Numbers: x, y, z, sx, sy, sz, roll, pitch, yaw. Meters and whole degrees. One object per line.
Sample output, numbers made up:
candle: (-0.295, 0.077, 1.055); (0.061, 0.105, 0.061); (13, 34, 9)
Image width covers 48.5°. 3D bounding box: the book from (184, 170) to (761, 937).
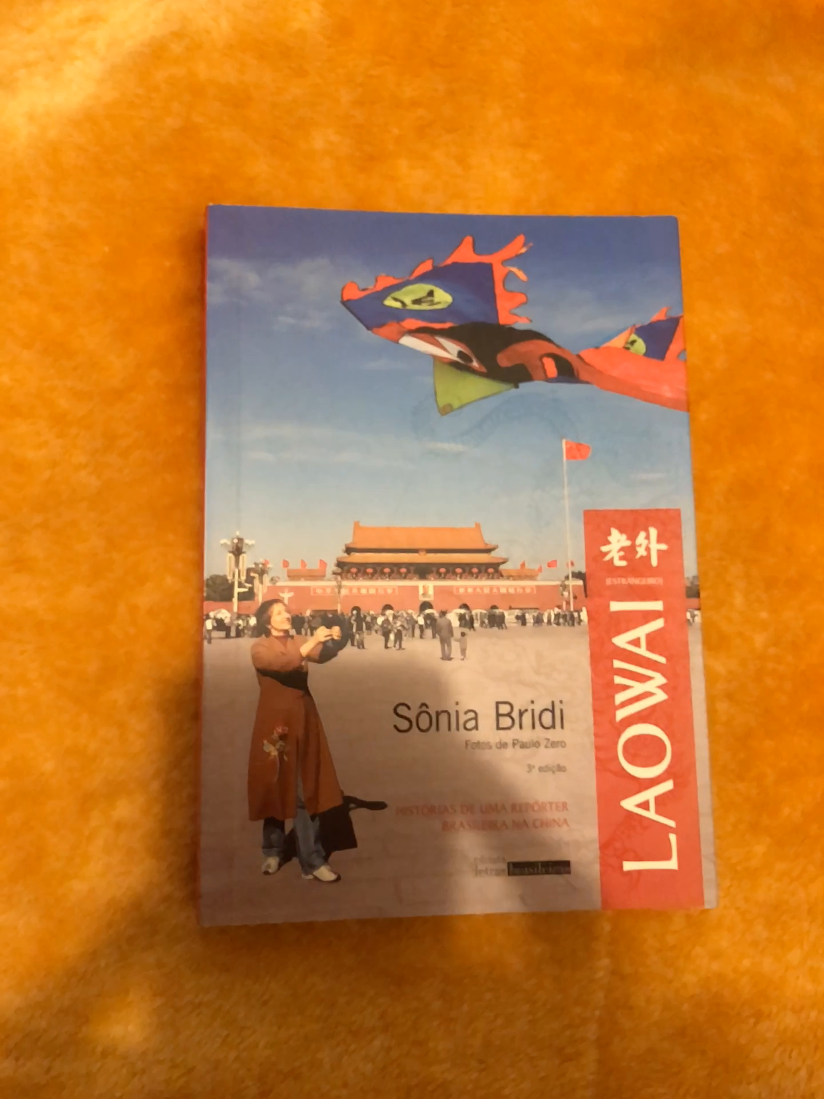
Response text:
book: (0.016, -0.004, 0.306); (0.170, 0.040, 0.240); (-1, 82, -1)
